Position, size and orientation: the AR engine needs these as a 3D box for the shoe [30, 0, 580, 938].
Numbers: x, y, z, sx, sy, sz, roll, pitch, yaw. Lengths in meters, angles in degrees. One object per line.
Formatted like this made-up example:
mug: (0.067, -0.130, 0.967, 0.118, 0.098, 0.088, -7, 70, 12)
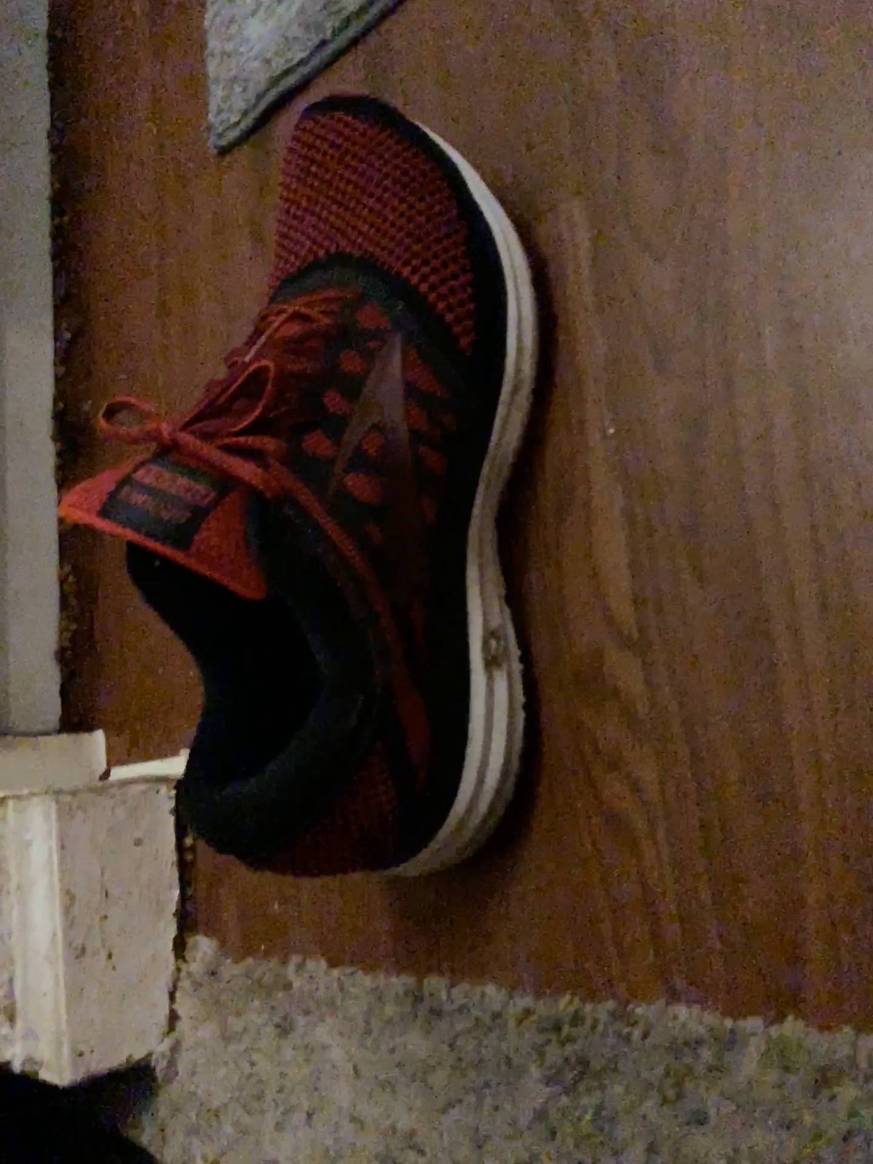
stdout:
shoe: (-0.048, -0.045, 0.359, 0.130, 0.140, 0.300, -9, 79, 43)
